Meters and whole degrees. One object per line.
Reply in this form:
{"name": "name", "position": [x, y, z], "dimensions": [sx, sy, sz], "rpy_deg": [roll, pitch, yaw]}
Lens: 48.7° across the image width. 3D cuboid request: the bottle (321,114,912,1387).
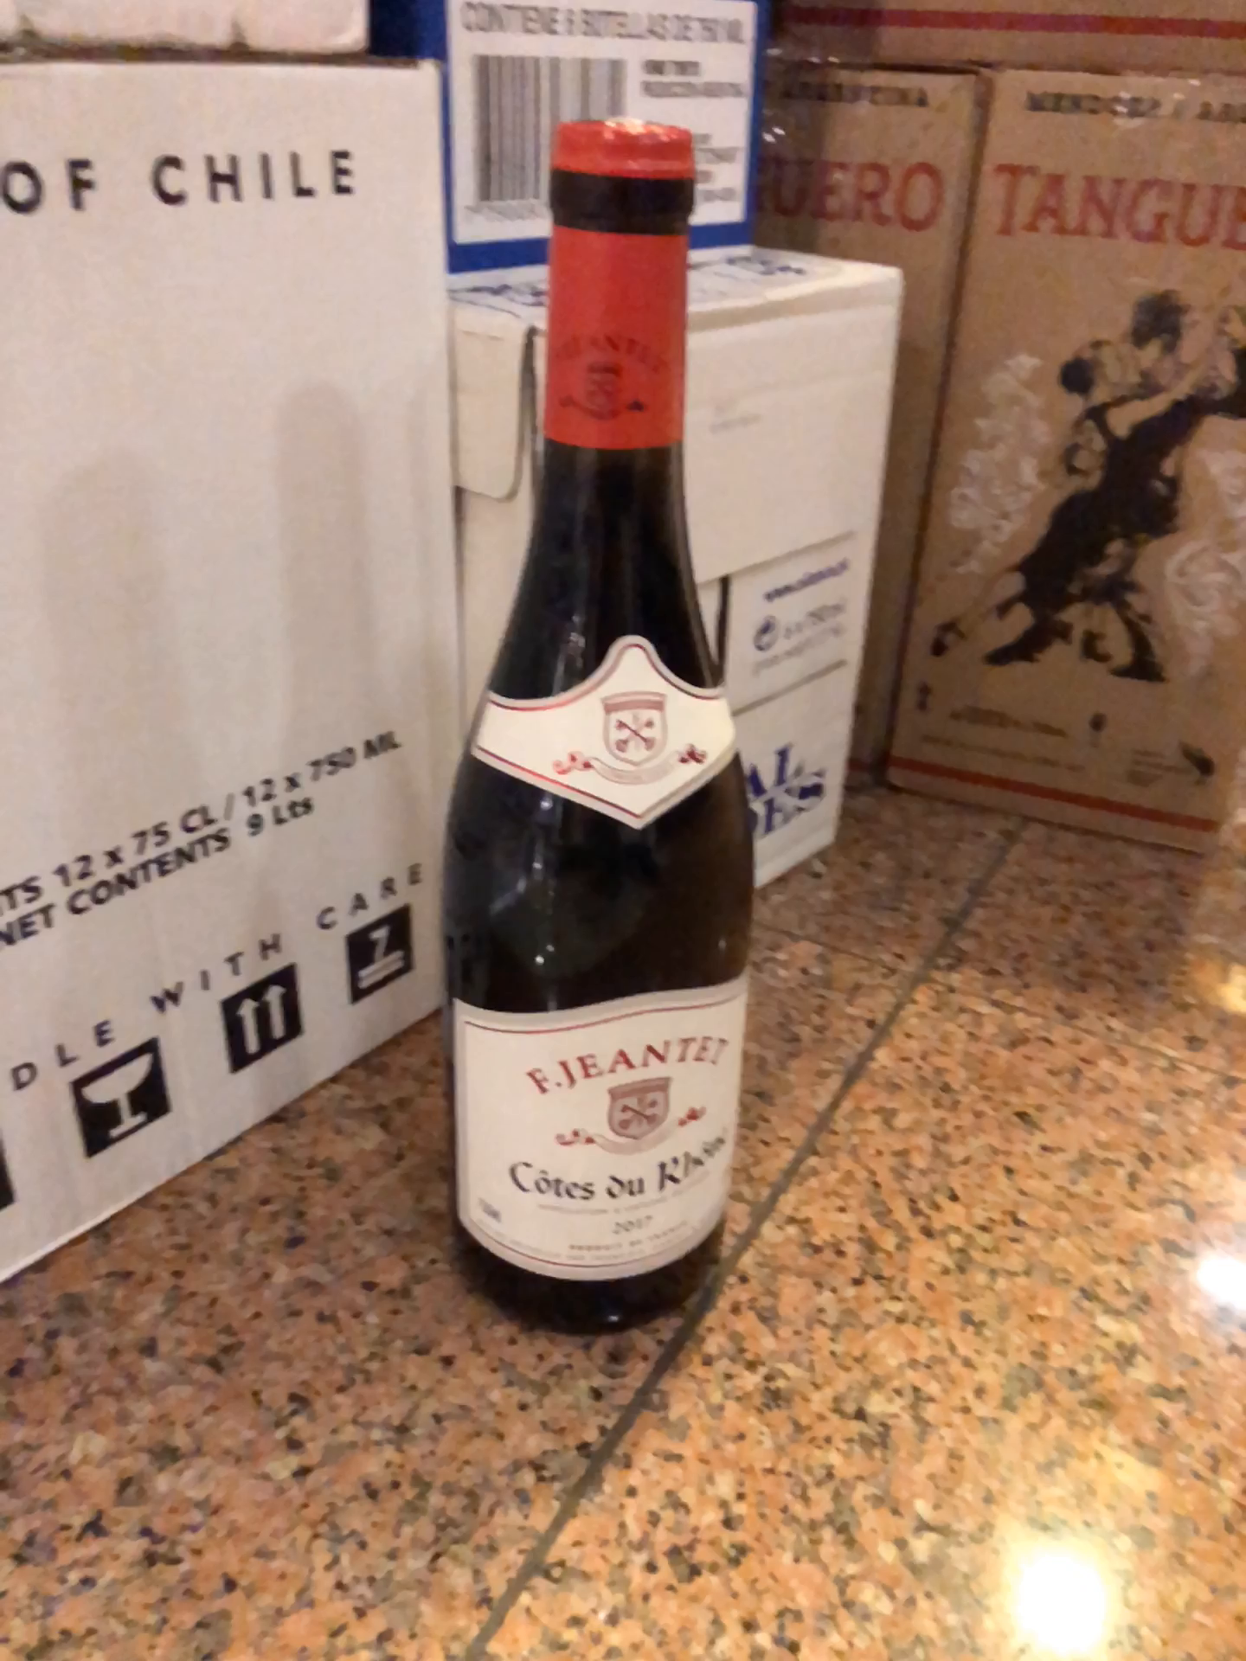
{"name": "bottle", "position": [-0.010, -0.008, 0.333], "dimensions": [0.090, 0.288, 0.081], "rpy_deg": [-9, 31, -20]}
